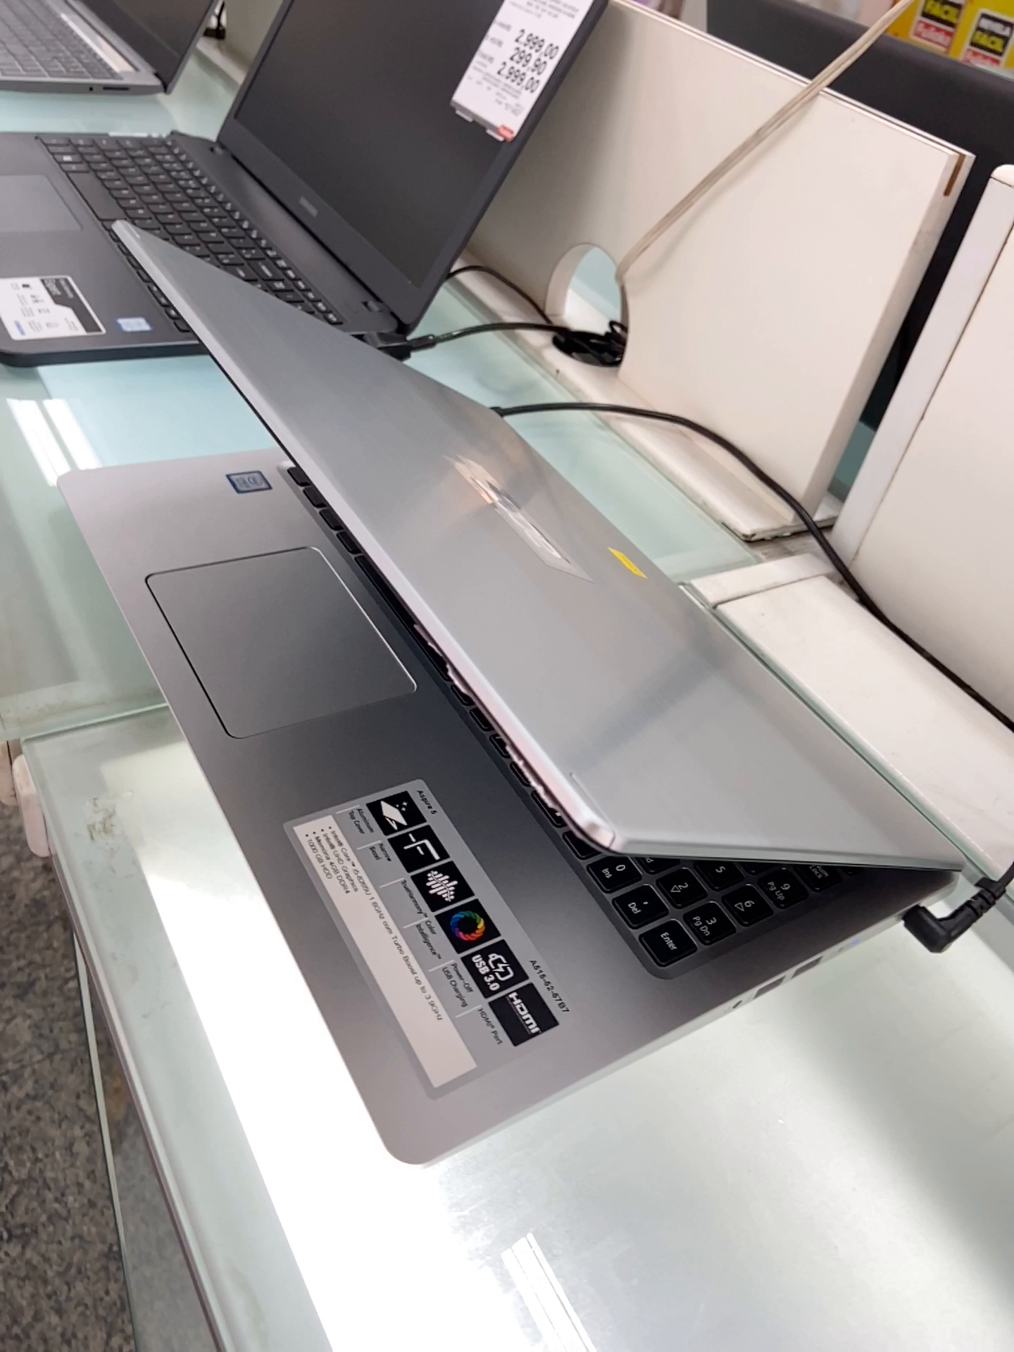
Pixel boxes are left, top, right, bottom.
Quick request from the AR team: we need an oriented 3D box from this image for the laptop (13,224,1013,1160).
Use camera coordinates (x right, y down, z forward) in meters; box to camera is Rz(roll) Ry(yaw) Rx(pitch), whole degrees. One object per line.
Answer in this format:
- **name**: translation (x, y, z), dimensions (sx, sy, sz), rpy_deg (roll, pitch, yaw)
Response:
- **laptop**: translation (-0.012, -0.051, 0.418), dimensions (0.246, 0.116, 0.365), rpy_deg (-15, 48, -30)
